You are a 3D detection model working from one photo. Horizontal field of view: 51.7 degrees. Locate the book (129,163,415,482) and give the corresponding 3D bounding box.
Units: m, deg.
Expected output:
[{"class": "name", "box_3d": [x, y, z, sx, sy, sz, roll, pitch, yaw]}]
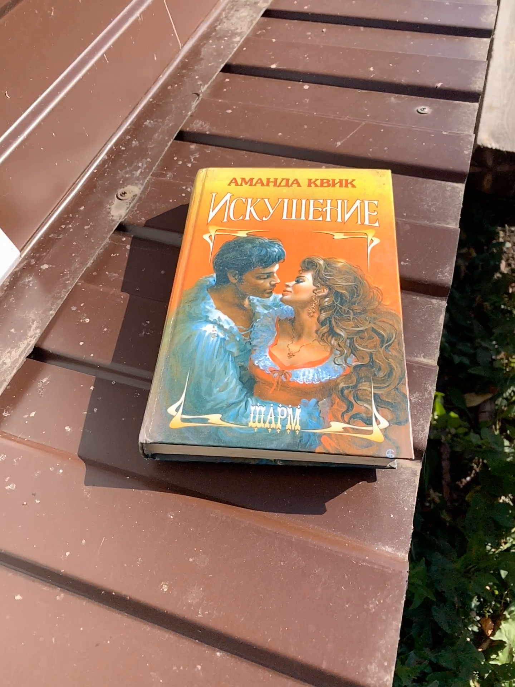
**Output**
[{"class": "book", "box_3d": [0.015, -0.027, 0.310, 0.134, 0.024, 0.201, 3, 59, 6]}]
